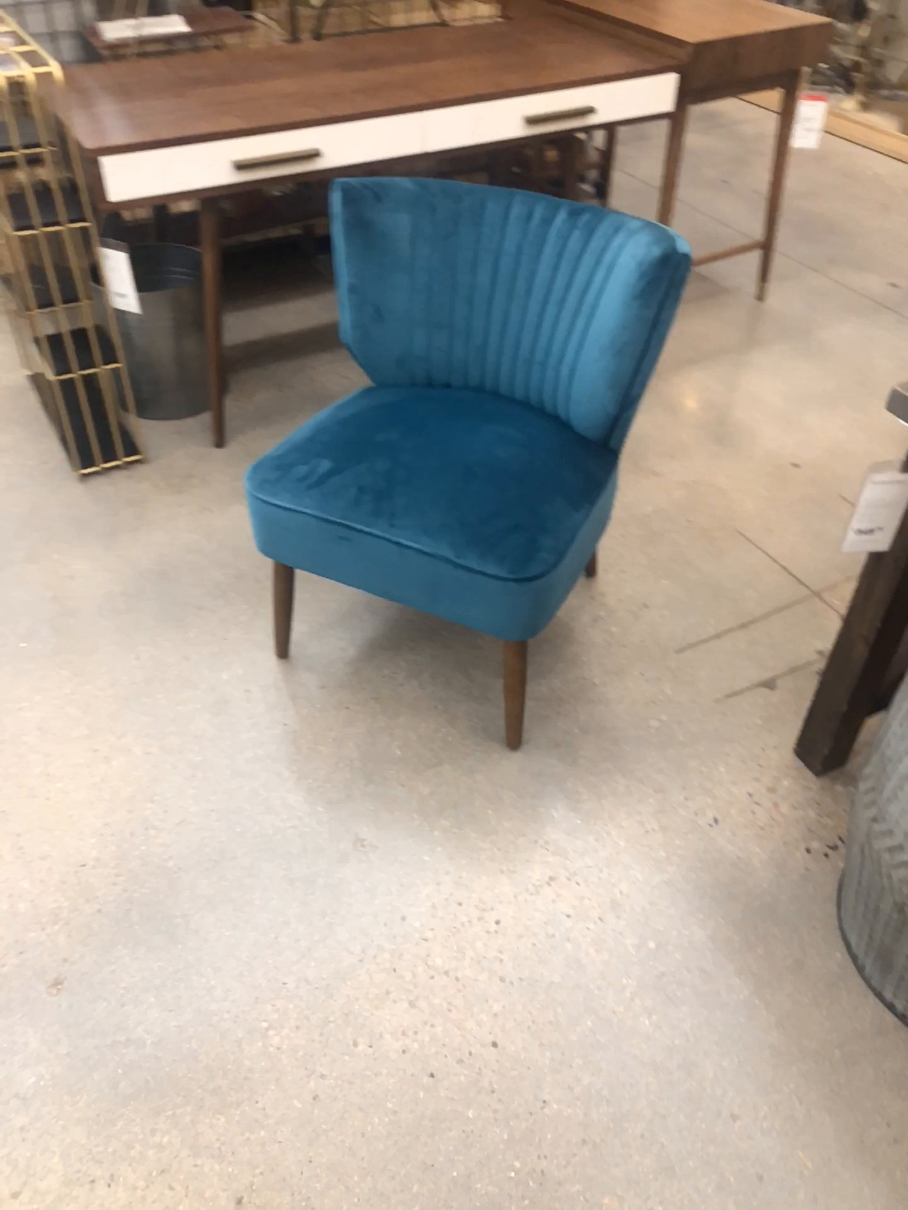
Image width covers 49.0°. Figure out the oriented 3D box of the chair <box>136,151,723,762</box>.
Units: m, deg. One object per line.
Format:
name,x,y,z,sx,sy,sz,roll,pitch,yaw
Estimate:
chair,-0.004,-0.291,1.731,0.660,0.677,0.663,18,45,19
